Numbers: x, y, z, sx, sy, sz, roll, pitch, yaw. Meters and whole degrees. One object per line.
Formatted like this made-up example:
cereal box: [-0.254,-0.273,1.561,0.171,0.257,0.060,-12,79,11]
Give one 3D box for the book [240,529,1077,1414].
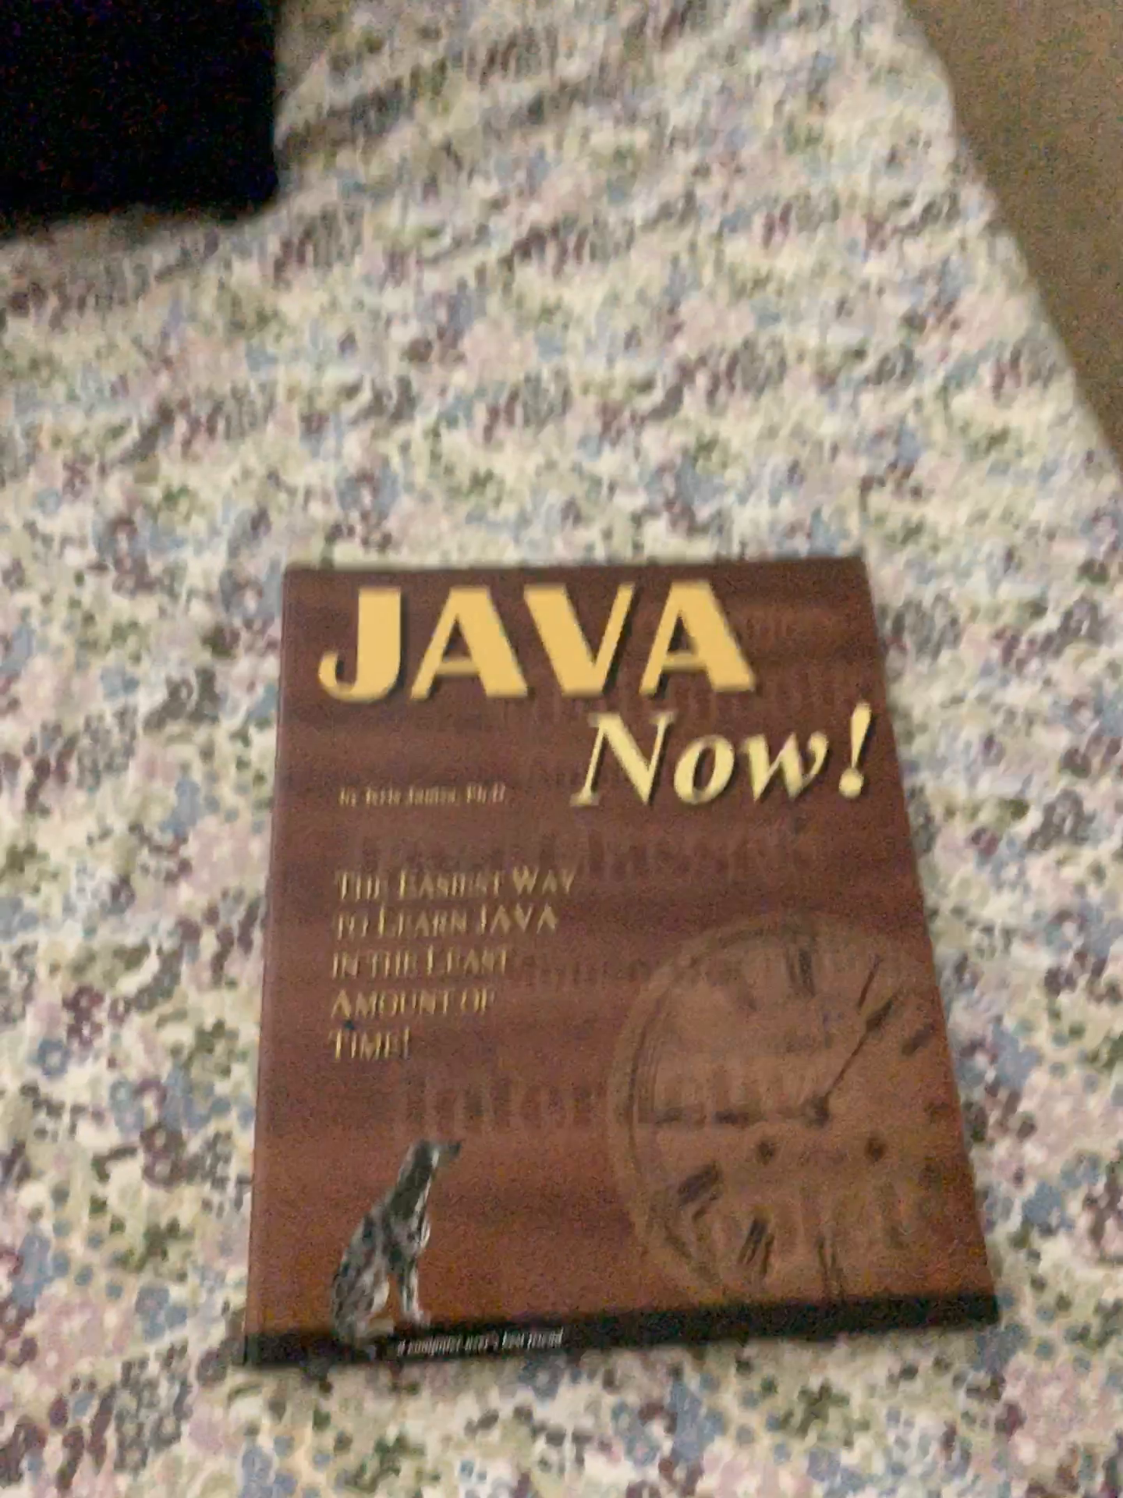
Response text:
book: [0.021,0.051,0.366,0.220,0.030,0.260,-1,68,-5]
